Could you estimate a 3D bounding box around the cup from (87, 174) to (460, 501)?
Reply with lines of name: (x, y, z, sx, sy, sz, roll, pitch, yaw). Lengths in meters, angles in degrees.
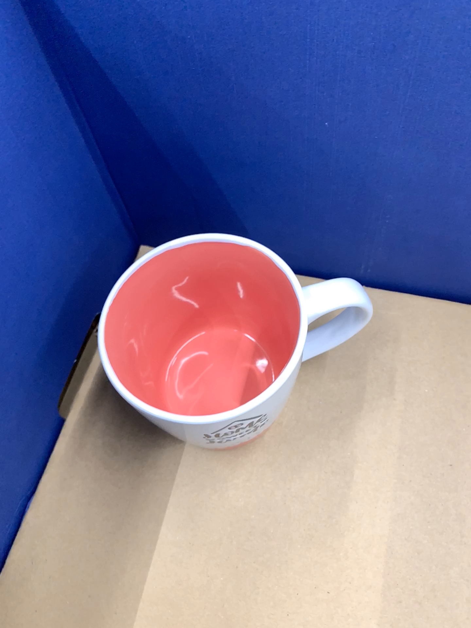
cup: (0.012, 0.011, 0.214, 0.115, 0.070, 0.083, -22, 60, -6)
